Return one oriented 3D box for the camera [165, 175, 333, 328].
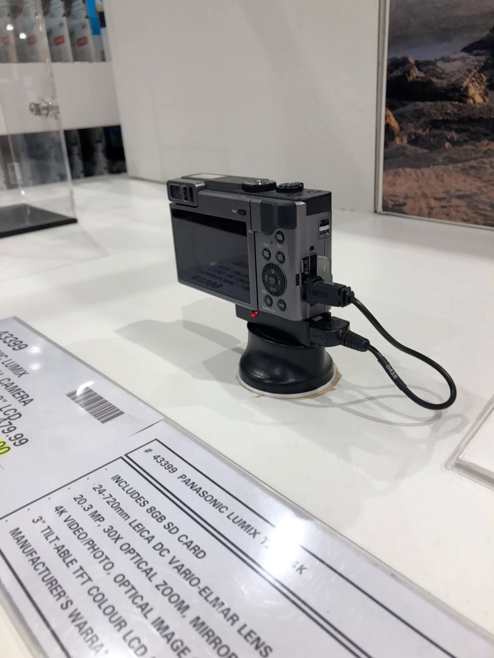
[{"bbox_3d":[-0.002,-0.049,0.314,0.030,0.065,0.107,-21,28,-36],"label":"camera"}]
